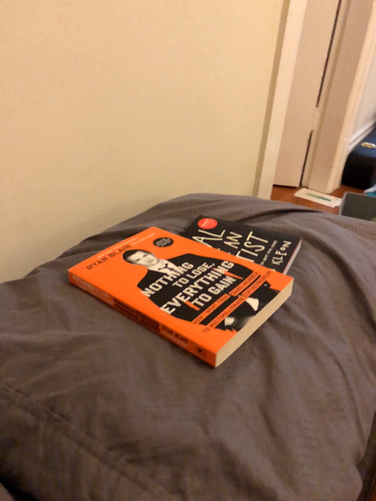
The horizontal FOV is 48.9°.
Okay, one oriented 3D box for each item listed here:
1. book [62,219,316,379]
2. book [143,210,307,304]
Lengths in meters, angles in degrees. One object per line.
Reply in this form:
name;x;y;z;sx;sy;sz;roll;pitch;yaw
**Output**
book;0.000;0.033;0.471;0.230;0.020;0.171;23;35;32
book;0.053;-0.002;0.538;0.170;0.020;0.151;13;31;22
